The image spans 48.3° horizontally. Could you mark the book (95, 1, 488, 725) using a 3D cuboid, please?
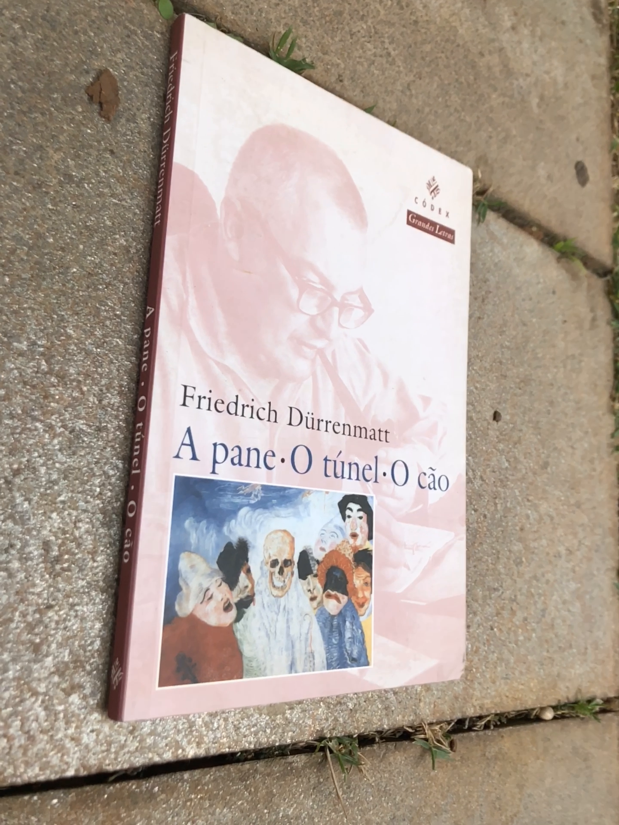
[{"bbox_3d":[0.010,-0.011,0.233,0.141,0.015,0.199,11,77,-38],"label":"book"}]
